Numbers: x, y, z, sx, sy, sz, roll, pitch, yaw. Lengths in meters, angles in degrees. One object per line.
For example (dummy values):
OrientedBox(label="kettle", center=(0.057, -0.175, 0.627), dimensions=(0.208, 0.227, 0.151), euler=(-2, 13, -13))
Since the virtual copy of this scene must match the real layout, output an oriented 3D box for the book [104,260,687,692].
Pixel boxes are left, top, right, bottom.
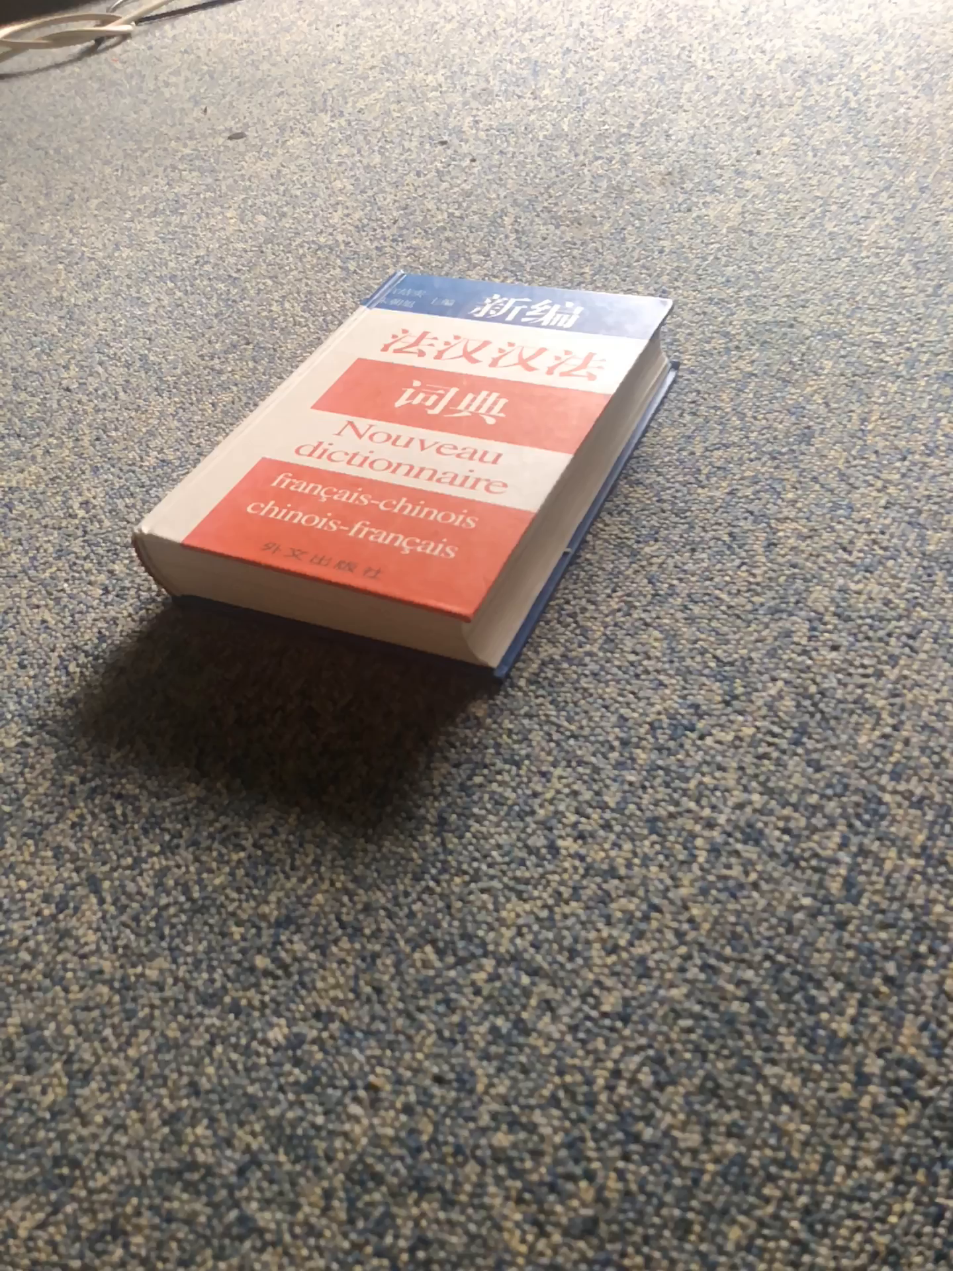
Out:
OrientedBox(label="book", center=(-0.021, -0.082, 0.425), dimensions=(0.152, 0.034, 0.209), euler=(14, 50, 23))
